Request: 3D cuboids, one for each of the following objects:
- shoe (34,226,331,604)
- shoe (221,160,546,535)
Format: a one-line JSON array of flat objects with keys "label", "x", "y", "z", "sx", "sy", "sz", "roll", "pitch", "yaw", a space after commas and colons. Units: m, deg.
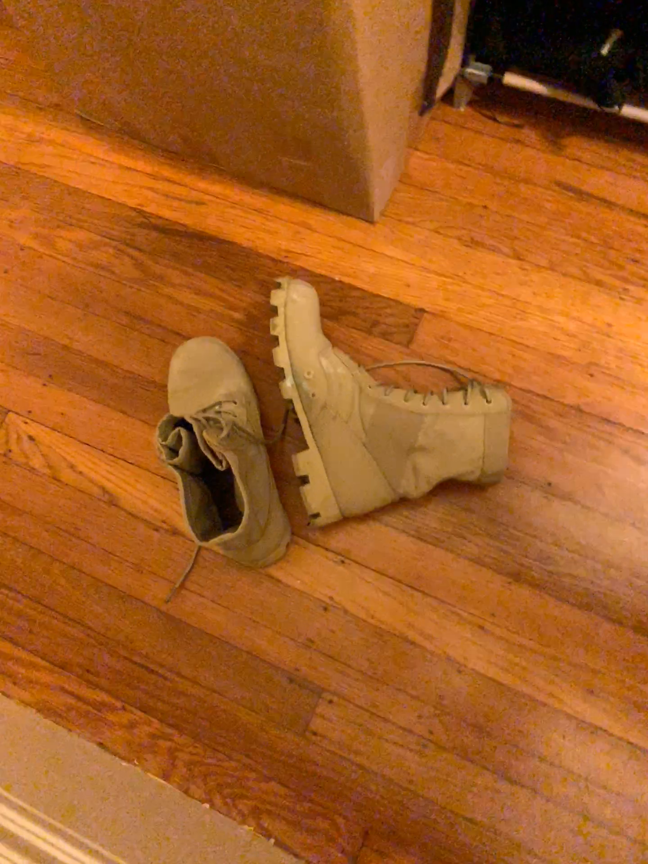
[{"label": "shoe", "x": -0.132, "y": -0.001, "z": 0.672, "sx": 0.190, "sy": 0.200, "sz": 0.300, "roll": -16, "pitch": 75, "yaw": 2}, {"label": "shoe", "x": 0.055, "y": -0.077, "z": 0.688, "sx": 0.250, "sy": 0.120, "sz": 0.310, "roll": -15, "pitch": 75, "yaw": 11}]
